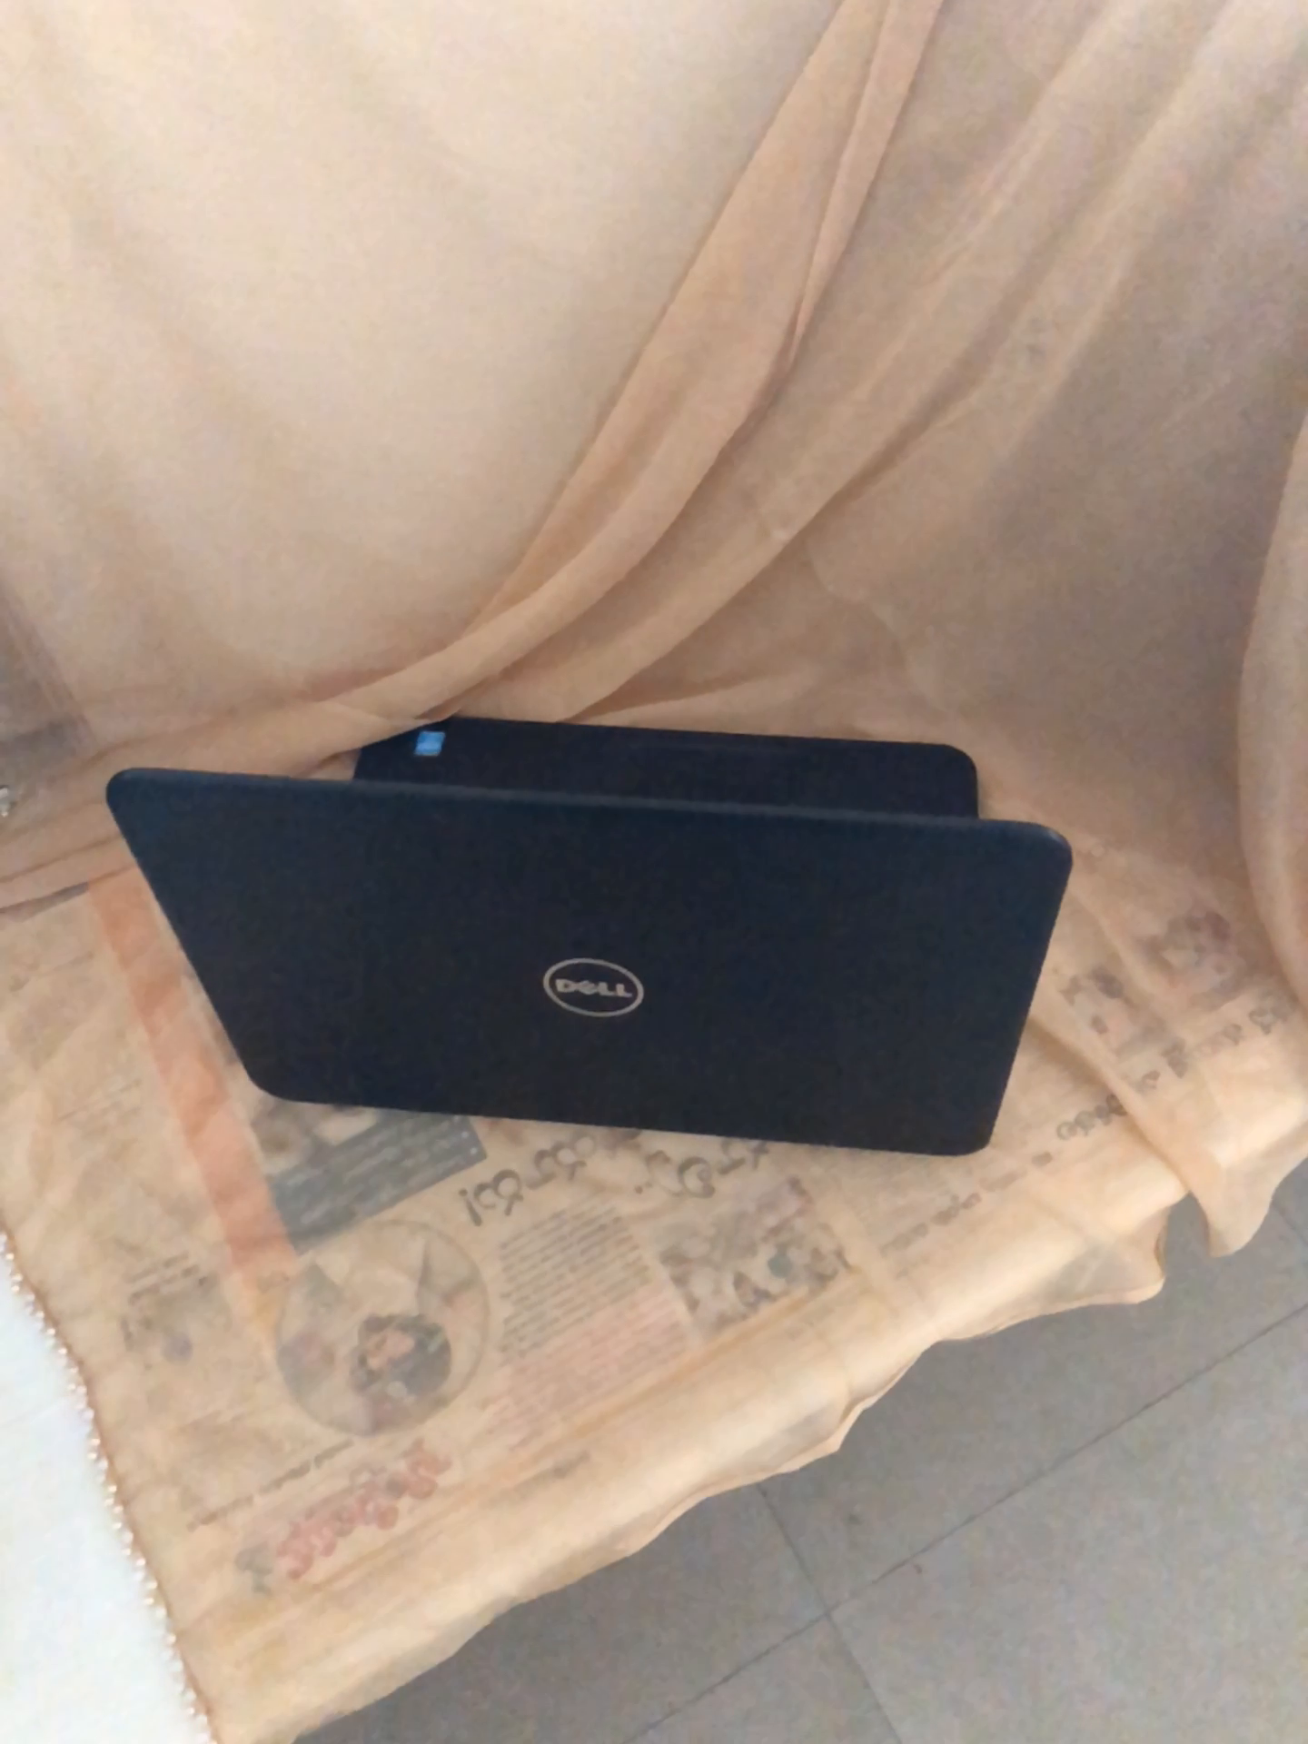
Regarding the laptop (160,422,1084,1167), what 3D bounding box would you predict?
[{"bbox_3d":[-0.003,-0.039,0.688,0.332,0.238,0.257,3,53,6],"label":"laptop"}]
